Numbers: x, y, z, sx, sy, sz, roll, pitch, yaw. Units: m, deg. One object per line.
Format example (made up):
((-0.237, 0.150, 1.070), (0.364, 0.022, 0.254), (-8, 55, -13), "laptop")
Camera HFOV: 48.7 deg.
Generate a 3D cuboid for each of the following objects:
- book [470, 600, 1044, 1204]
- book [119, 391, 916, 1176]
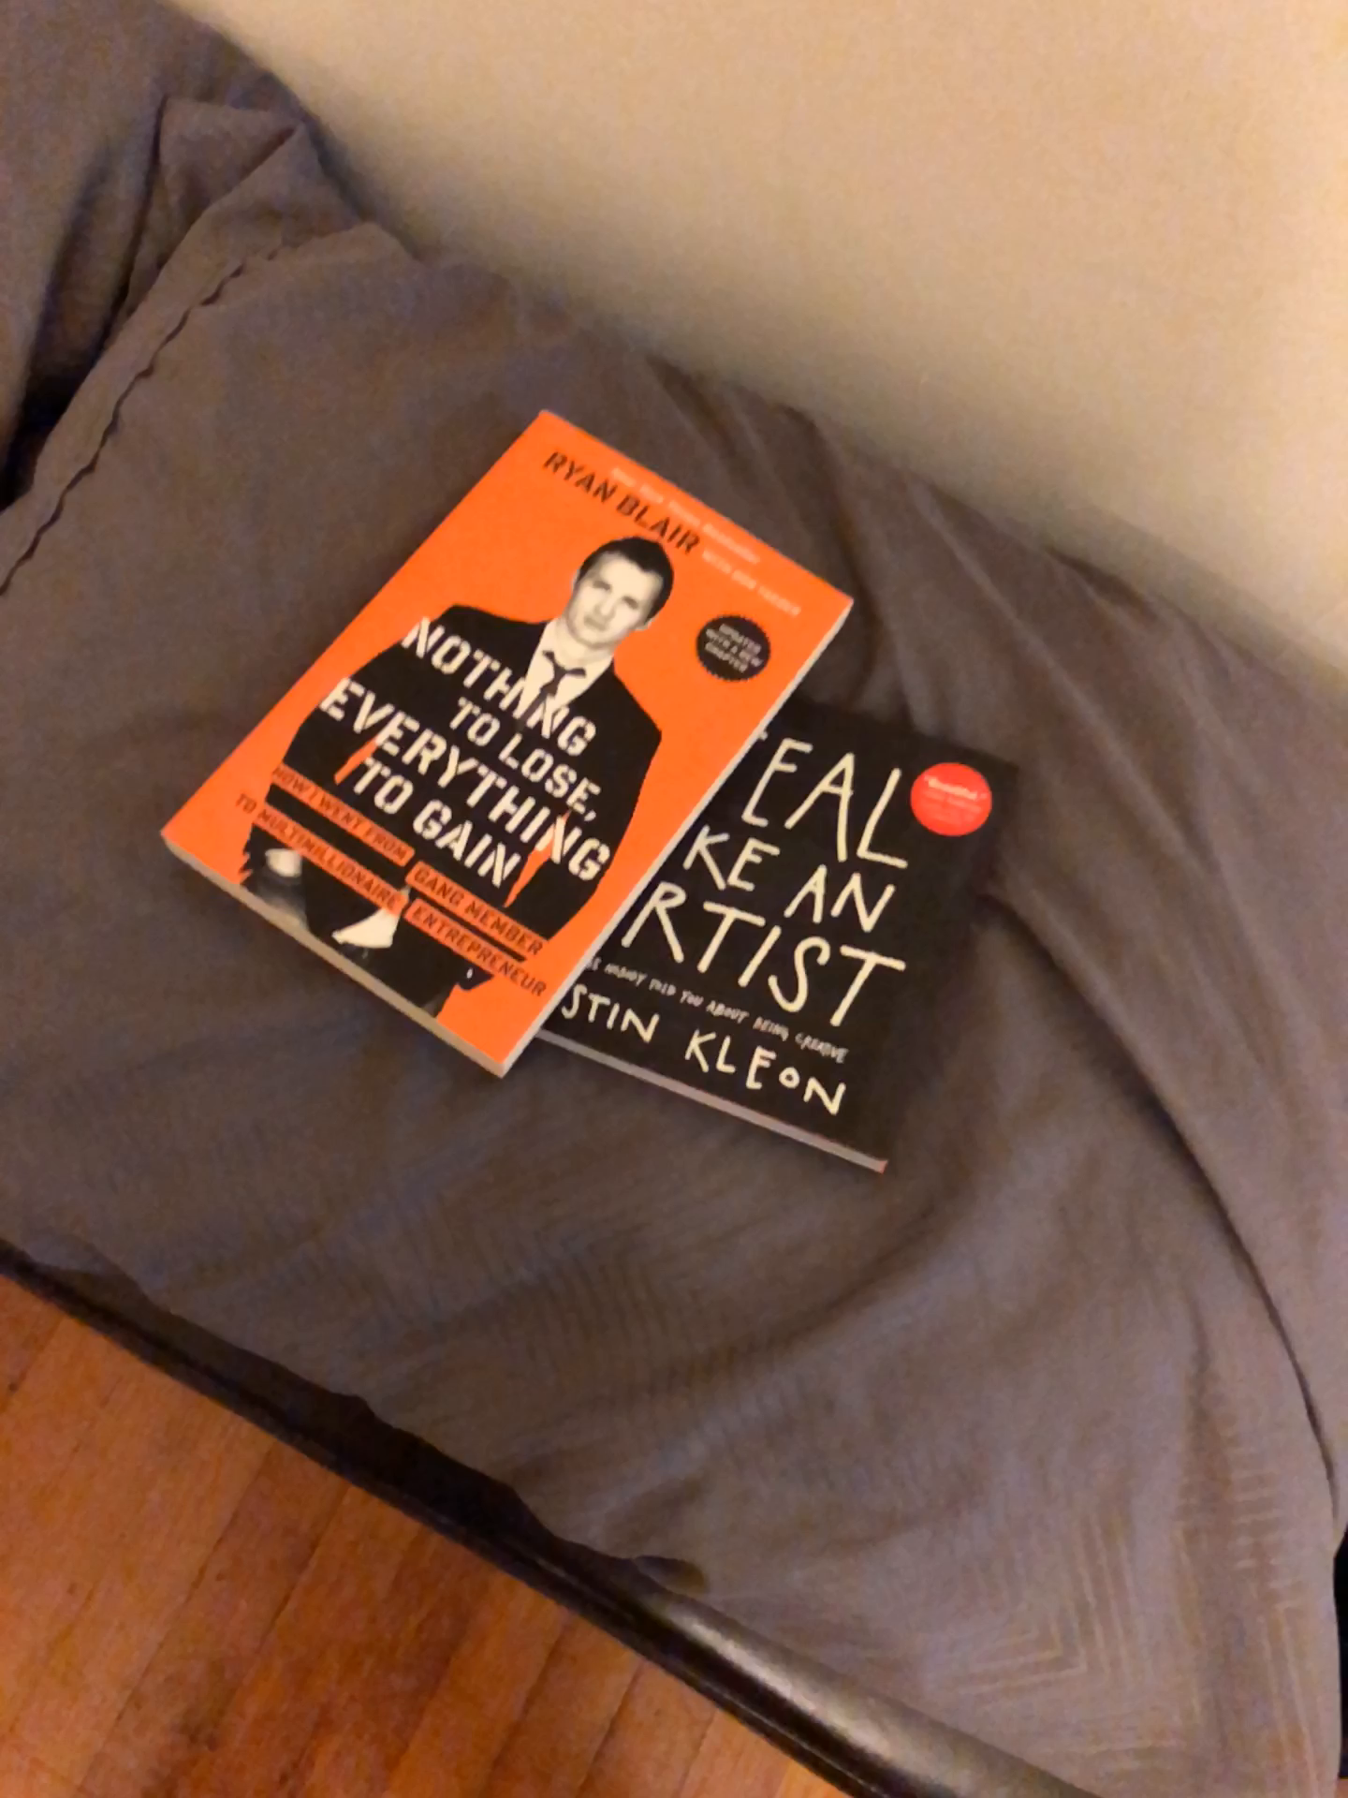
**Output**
((0.032, -0.004, 0.512), (0.150, 0.020, 0.170), (20, 69, 2), "book")
((-0.047, -0.049, 0.518), (0.170, 0.020, 0.230), (33, 72, 5), "book")
